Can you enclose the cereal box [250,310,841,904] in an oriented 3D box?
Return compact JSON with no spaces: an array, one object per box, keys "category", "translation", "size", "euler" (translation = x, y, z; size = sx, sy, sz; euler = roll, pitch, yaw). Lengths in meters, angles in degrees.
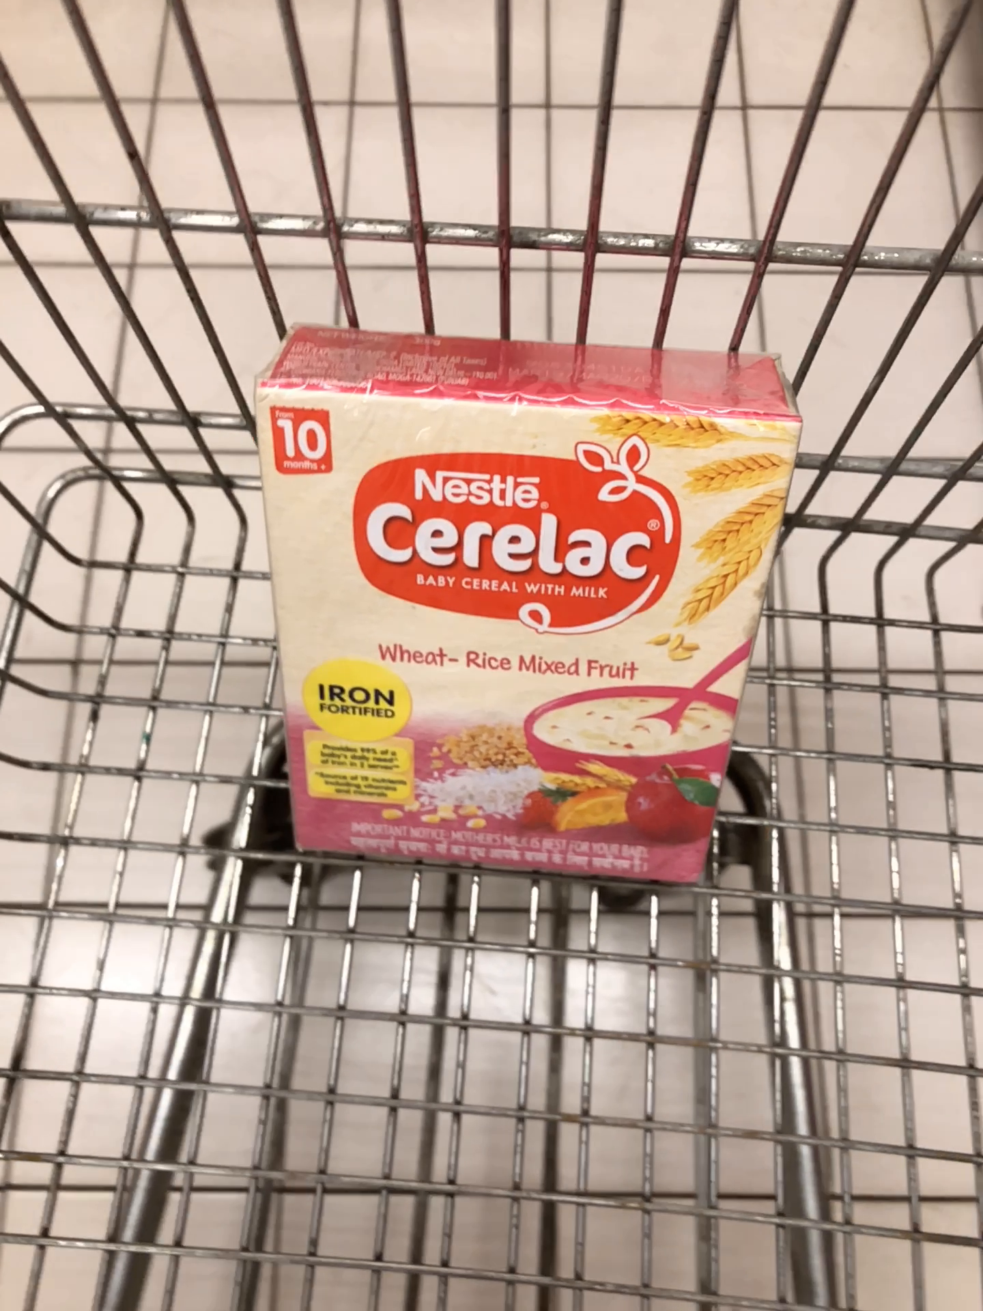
[{"category":"cereal box","translation":[0.010,-0.008,0.355],"size":[0.150,0.179,0.060],"euler":[4,37,1]}]
